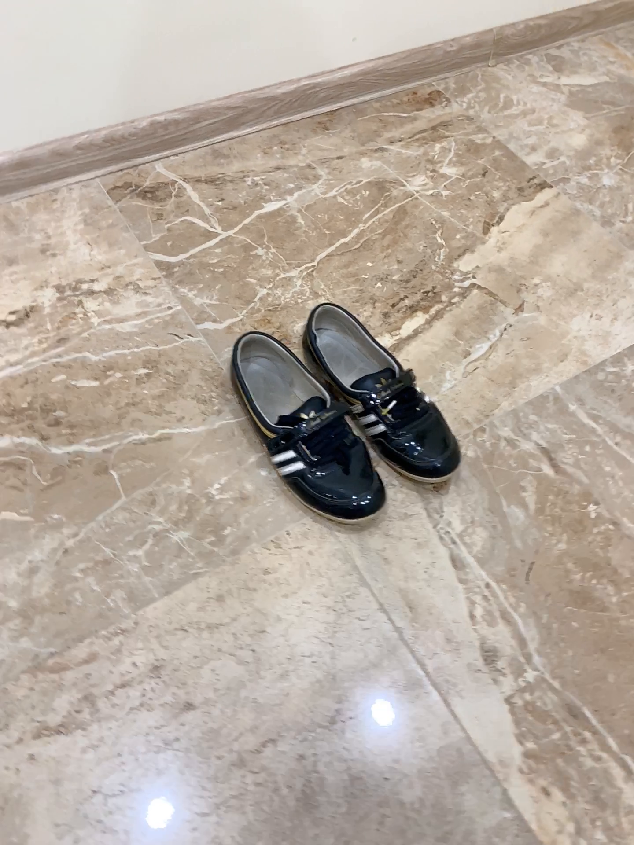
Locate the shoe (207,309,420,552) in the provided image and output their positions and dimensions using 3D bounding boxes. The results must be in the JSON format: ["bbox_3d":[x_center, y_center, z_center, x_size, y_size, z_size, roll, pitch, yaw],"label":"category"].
[{"bbox_3d":[-0.011,0.000,0.663,0.095,0.060,0.241,-26,63,-21],"label":"shoe"}]

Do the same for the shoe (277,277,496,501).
[{"bbox_3d":[0.065,-0.043,0.698,0.095,0.060,0.240,-29,64,-23],"label":"shoe"}]
